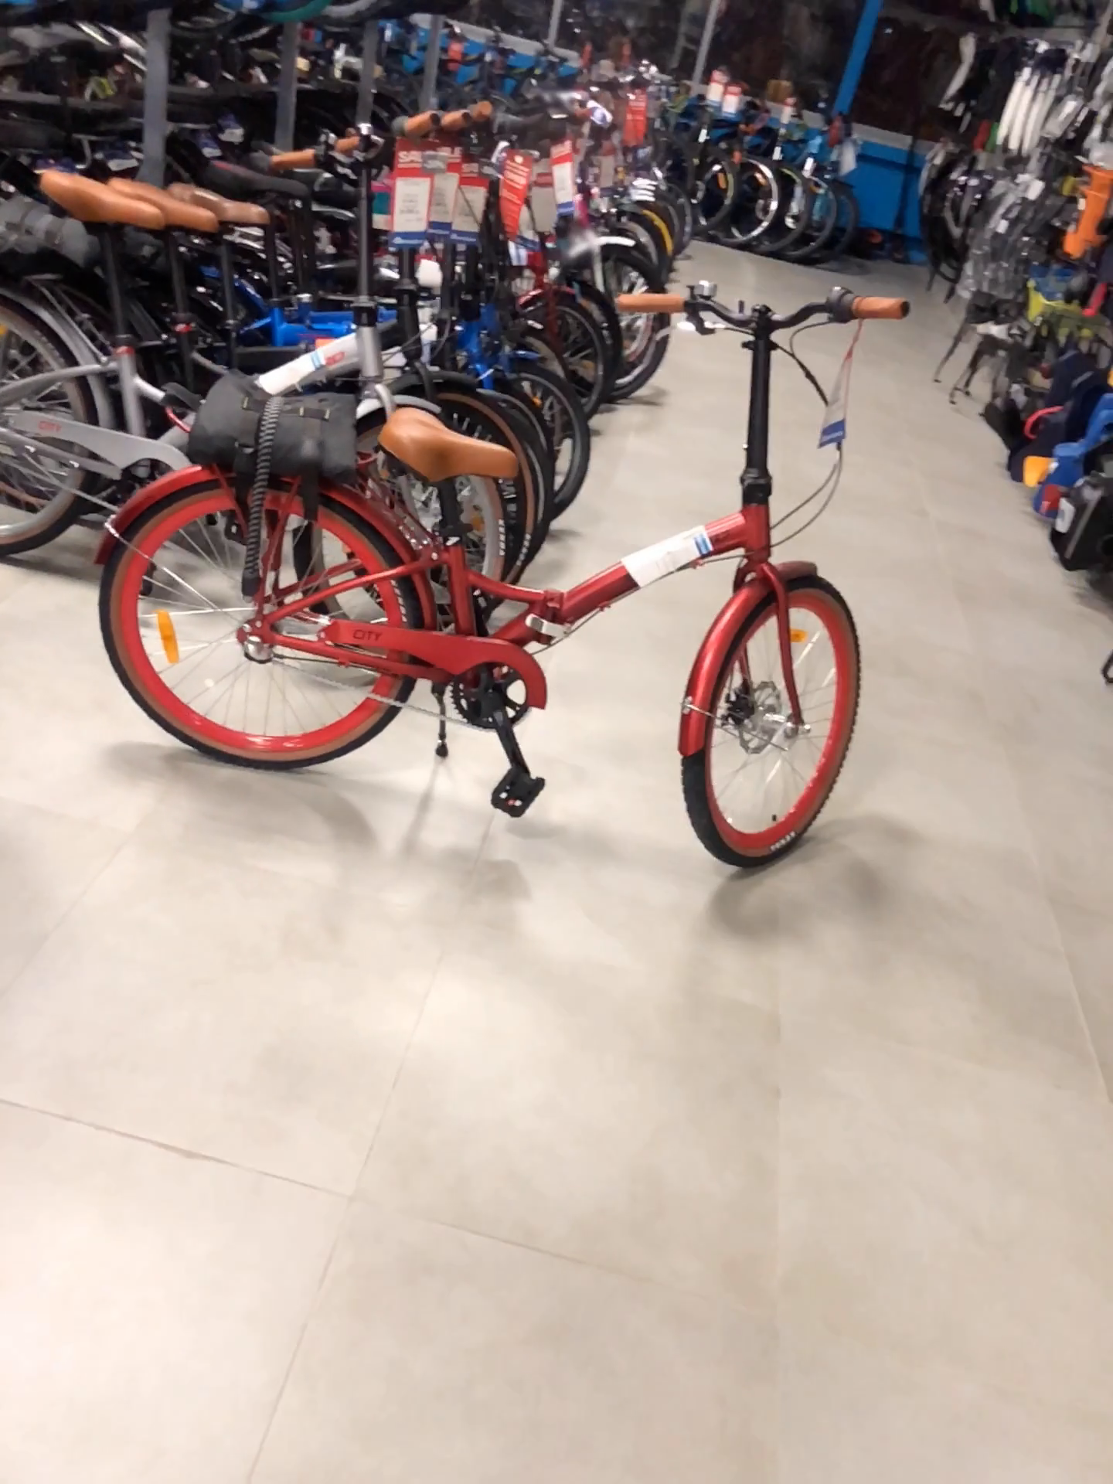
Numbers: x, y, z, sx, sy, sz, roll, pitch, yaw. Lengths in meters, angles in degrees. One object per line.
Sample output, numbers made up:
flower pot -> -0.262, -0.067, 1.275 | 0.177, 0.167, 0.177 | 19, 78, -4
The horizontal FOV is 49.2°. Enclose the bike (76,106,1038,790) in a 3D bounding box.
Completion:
bike -> -0.064, -0.514, 2.362 | 1.494, 1.111, 0.519 | 2, 32, -13
